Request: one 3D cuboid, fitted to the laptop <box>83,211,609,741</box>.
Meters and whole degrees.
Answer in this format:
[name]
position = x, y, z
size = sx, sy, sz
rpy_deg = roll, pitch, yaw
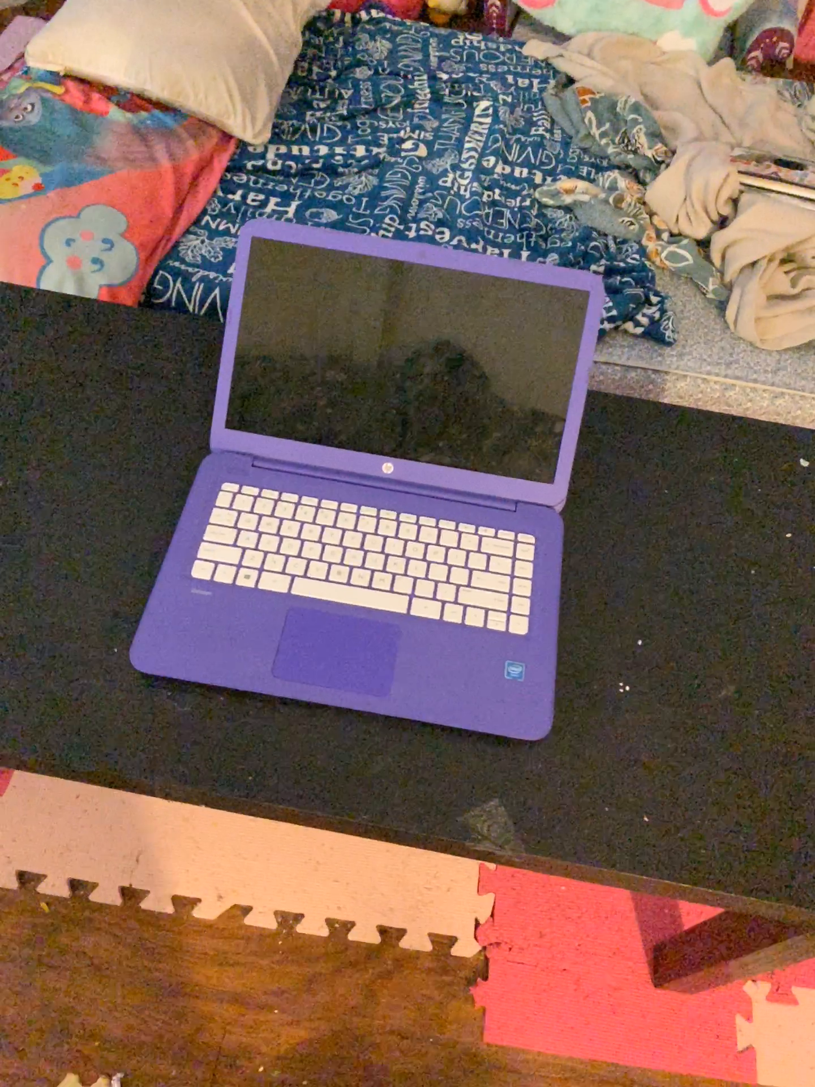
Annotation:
[laptop]
position = -0.020, -0.076, 0.706
size = 0.339, 0.132, 0.398
rpy_deg = 10, 57, 1
